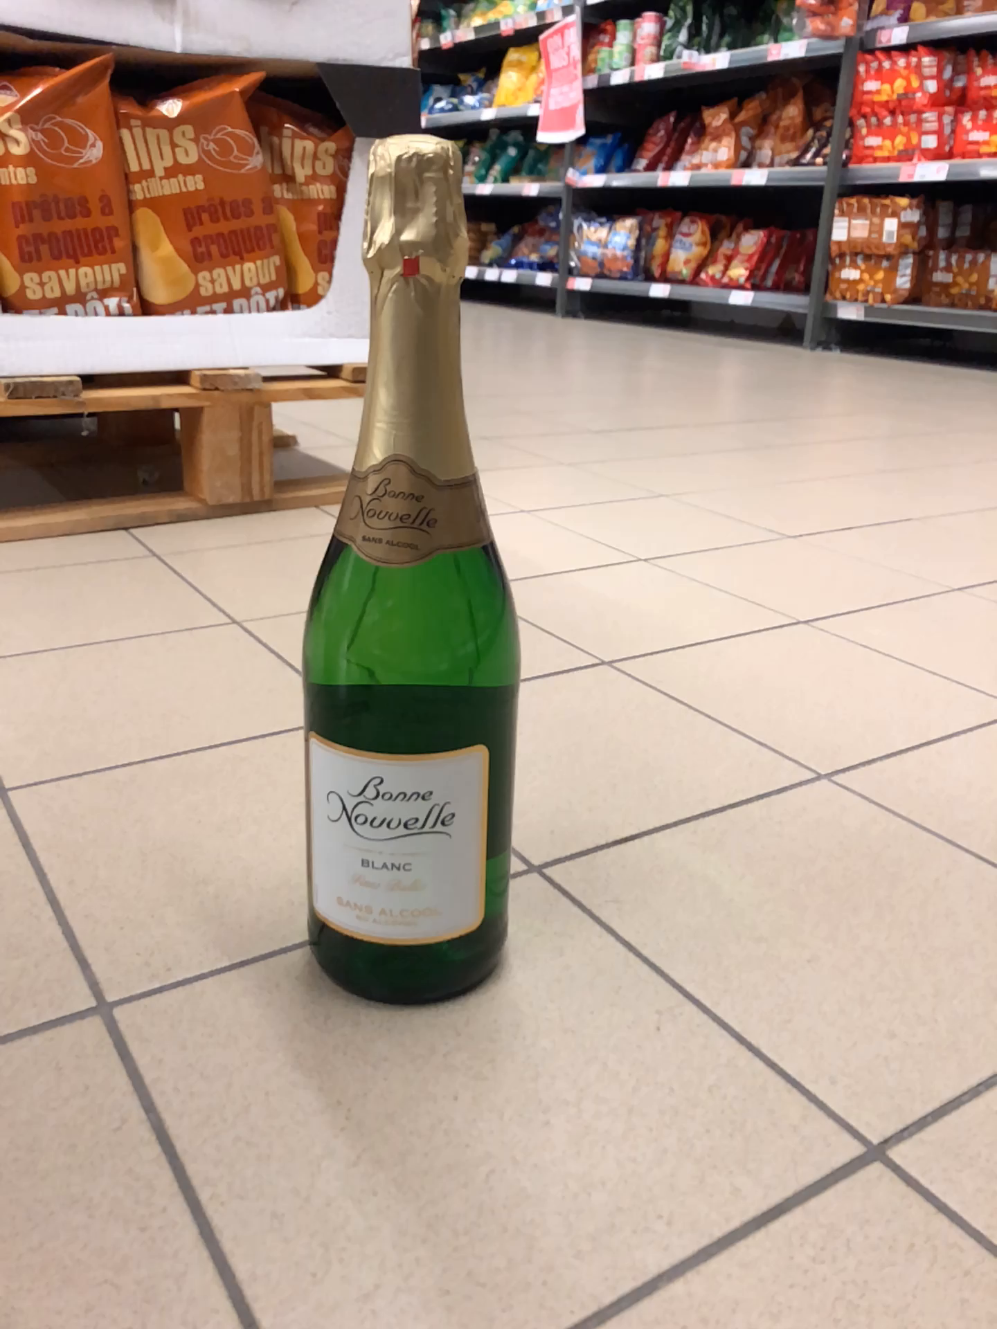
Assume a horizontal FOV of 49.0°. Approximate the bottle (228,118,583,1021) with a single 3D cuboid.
[{"bbox_3d":[-0.029,-0.027,0.401,0.100,0.299,0.090,4,20,4],"label":"bottle"}]
